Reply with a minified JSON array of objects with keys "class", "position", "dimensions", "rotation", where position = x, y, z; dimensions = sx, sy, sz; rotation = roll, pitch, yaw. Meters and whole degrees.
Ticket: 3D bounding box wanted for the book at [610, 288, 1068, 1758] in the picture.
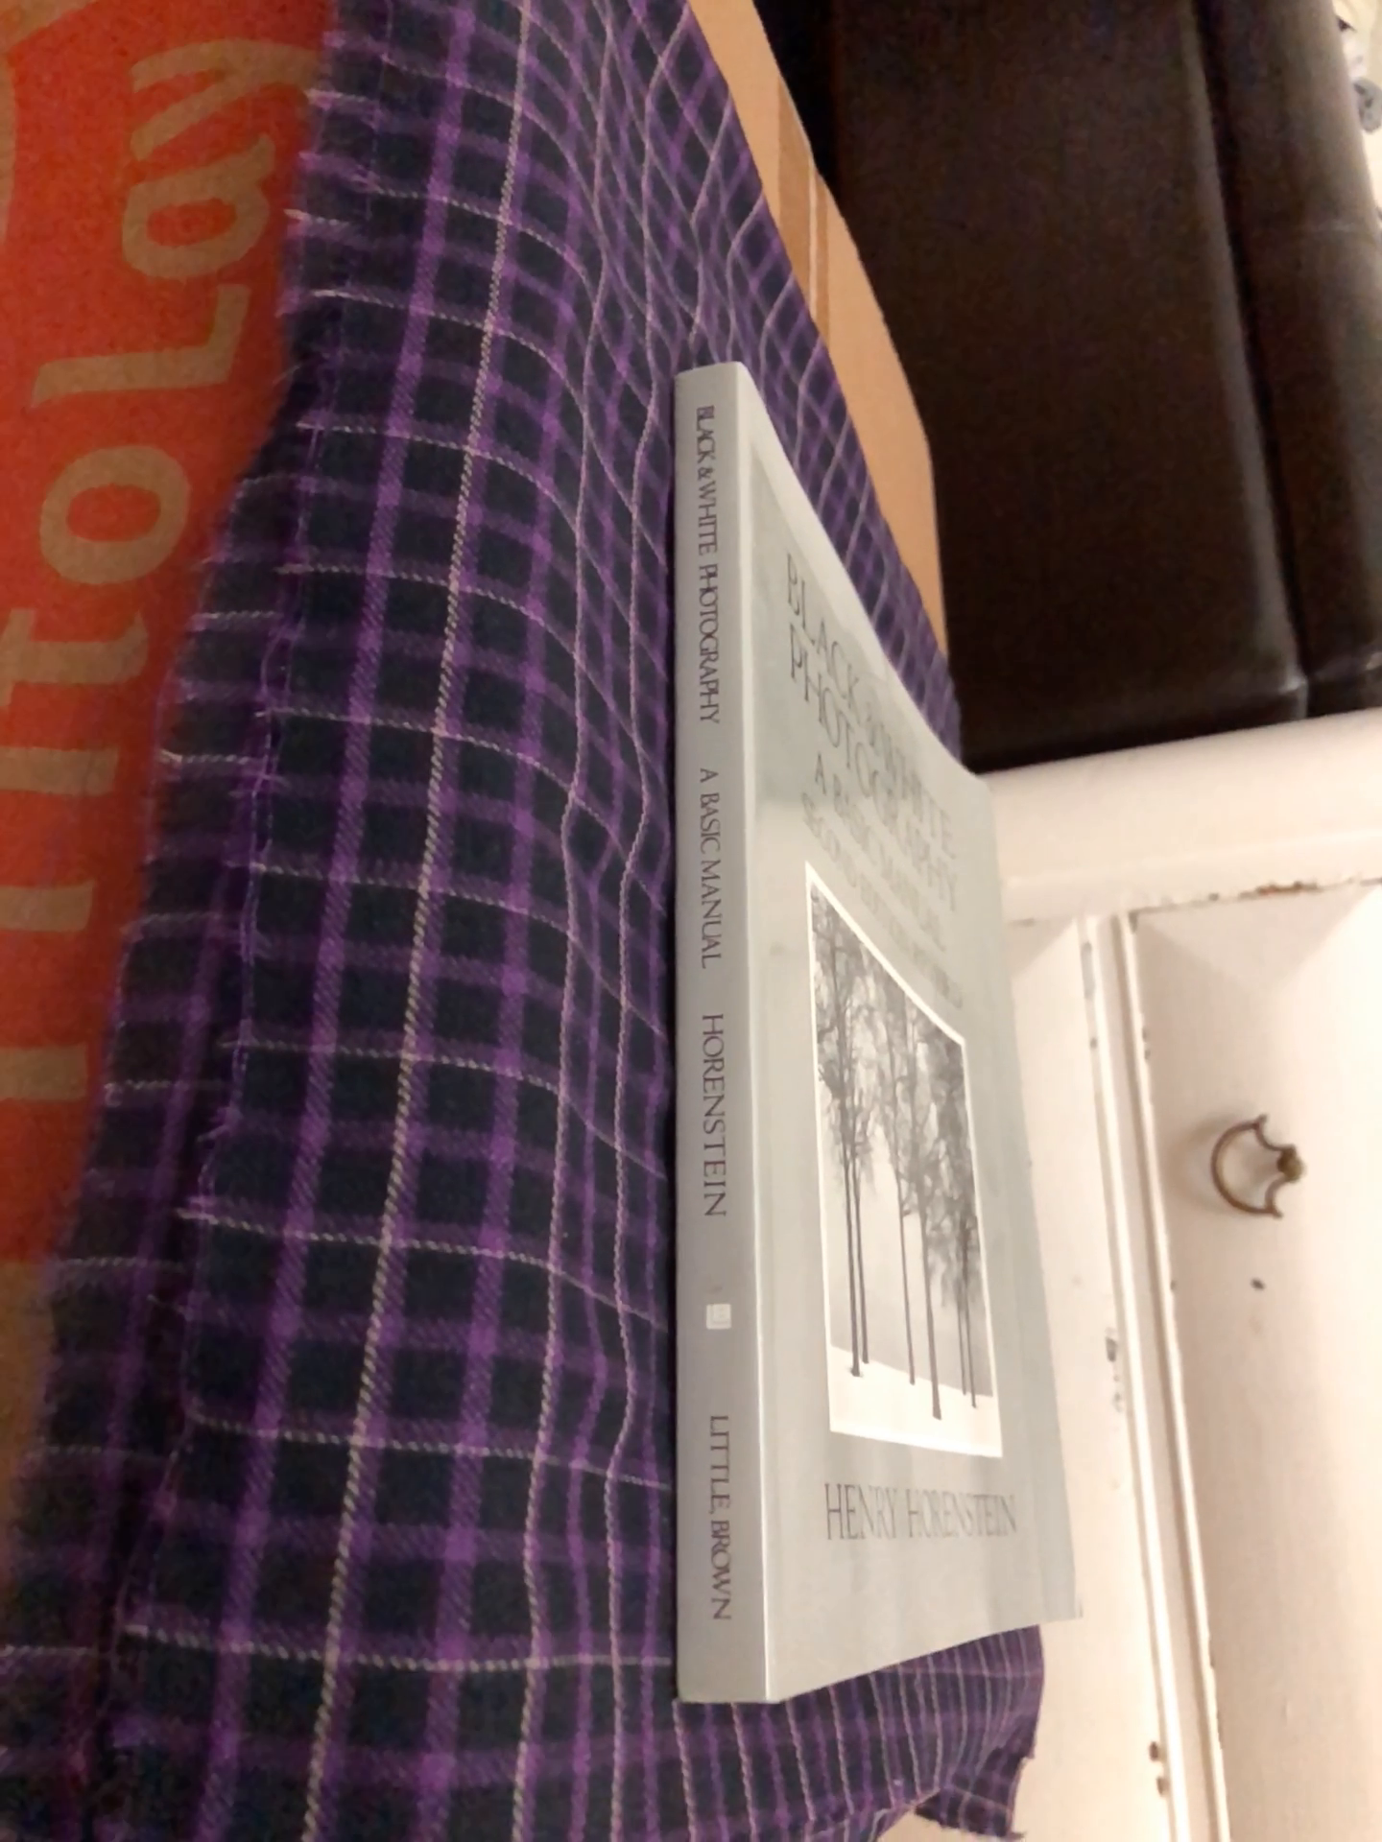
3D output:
[{"class":"book","position":[0.041,0.032,0.346],"dimensions":[0.211,0.030,0.250],"rotation":[43,43,-60]}]
